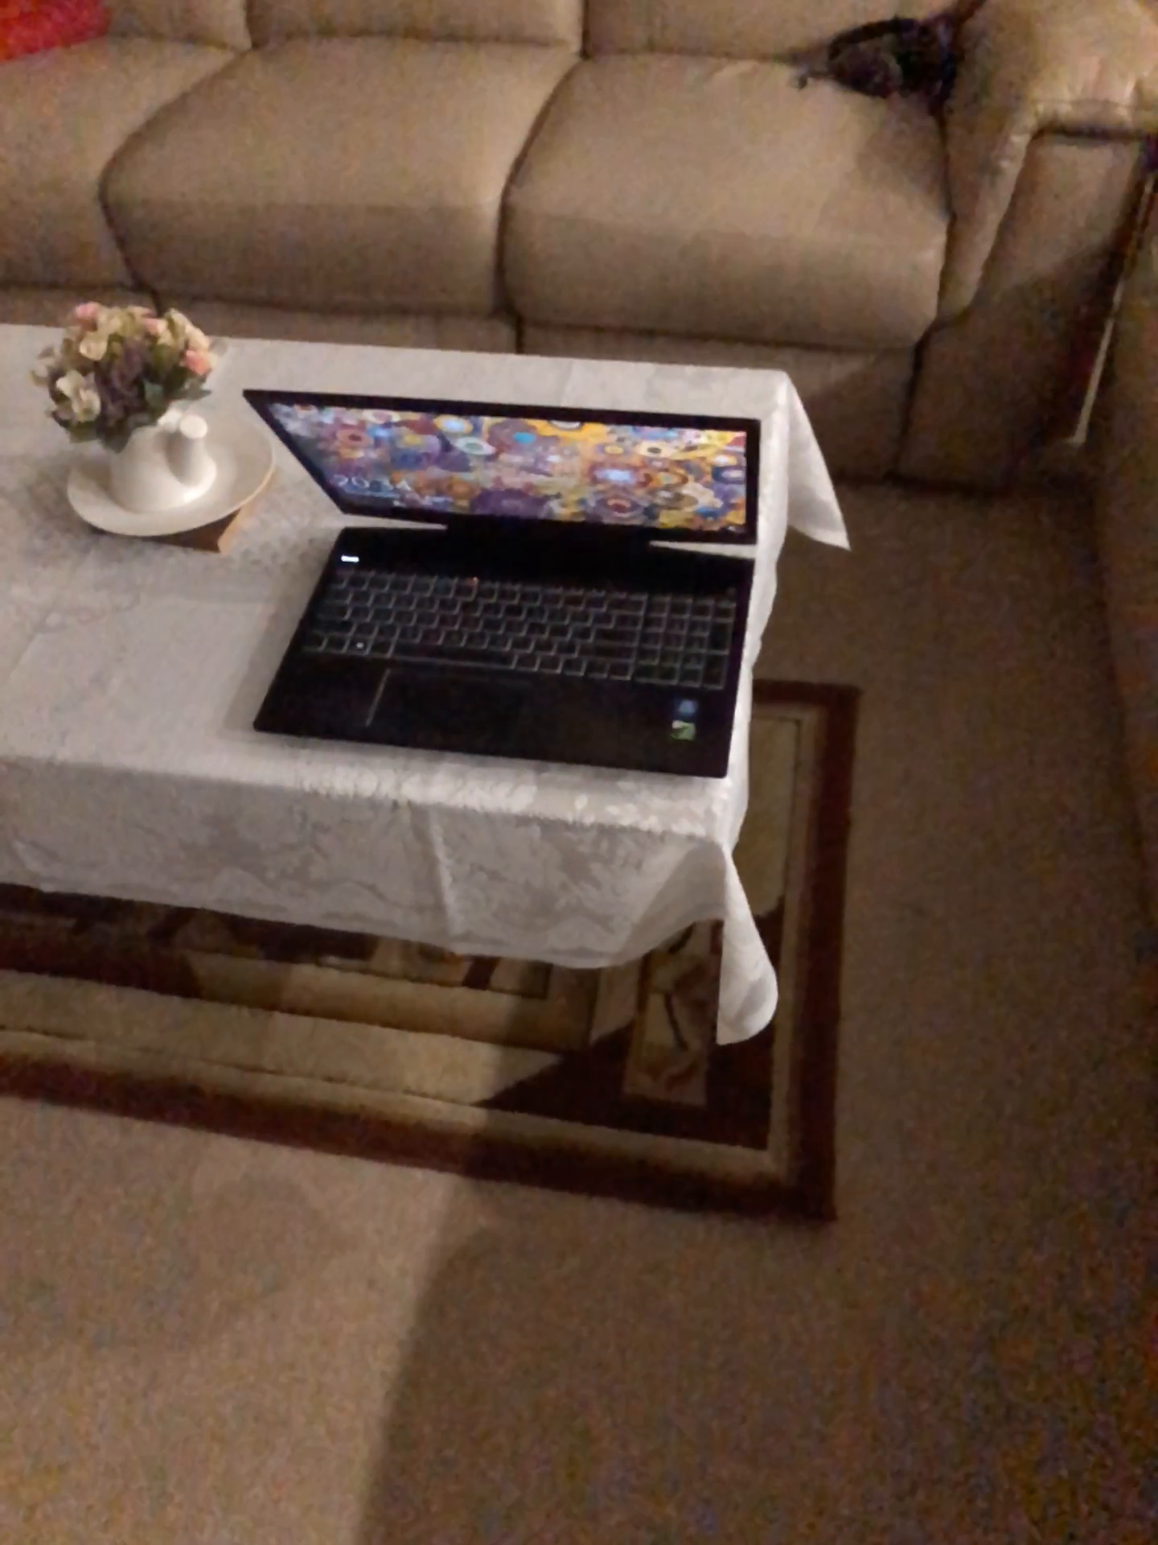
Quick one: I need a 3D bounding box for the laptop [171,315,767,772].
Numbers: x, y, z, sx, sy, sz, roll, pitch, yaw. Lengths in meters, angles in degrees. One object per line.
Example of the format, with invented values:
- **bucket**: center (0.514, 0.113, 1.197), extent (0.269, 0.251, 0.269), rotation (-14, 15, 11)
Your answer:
- **laptop**: center (-0.057, -0.173, 0.929), extent (0.355, 0.199, 0.244), rotation (5, 49, 9)
